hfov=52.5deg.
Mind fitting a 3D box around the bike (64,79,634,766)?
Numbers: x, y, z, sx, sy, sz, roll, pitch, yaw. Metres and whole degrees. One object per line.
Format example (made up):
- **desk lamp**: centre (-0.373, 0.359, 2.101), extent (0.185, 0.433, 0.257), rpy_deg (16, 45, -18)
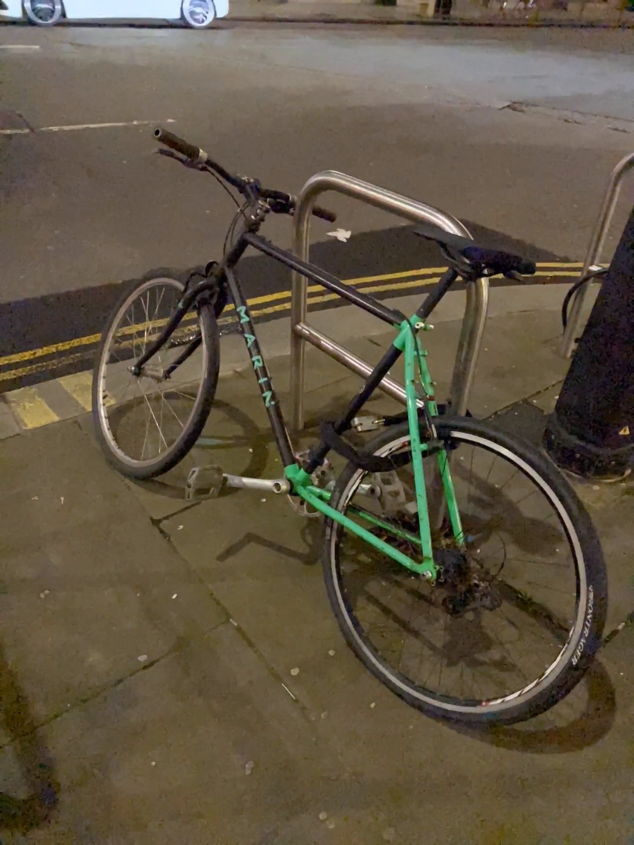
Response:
- **bike**: centre (0.106, -0.202, 1.728), extent (0.641, 1.014, 1.690), rpy_deg (-28, 46, -36)
